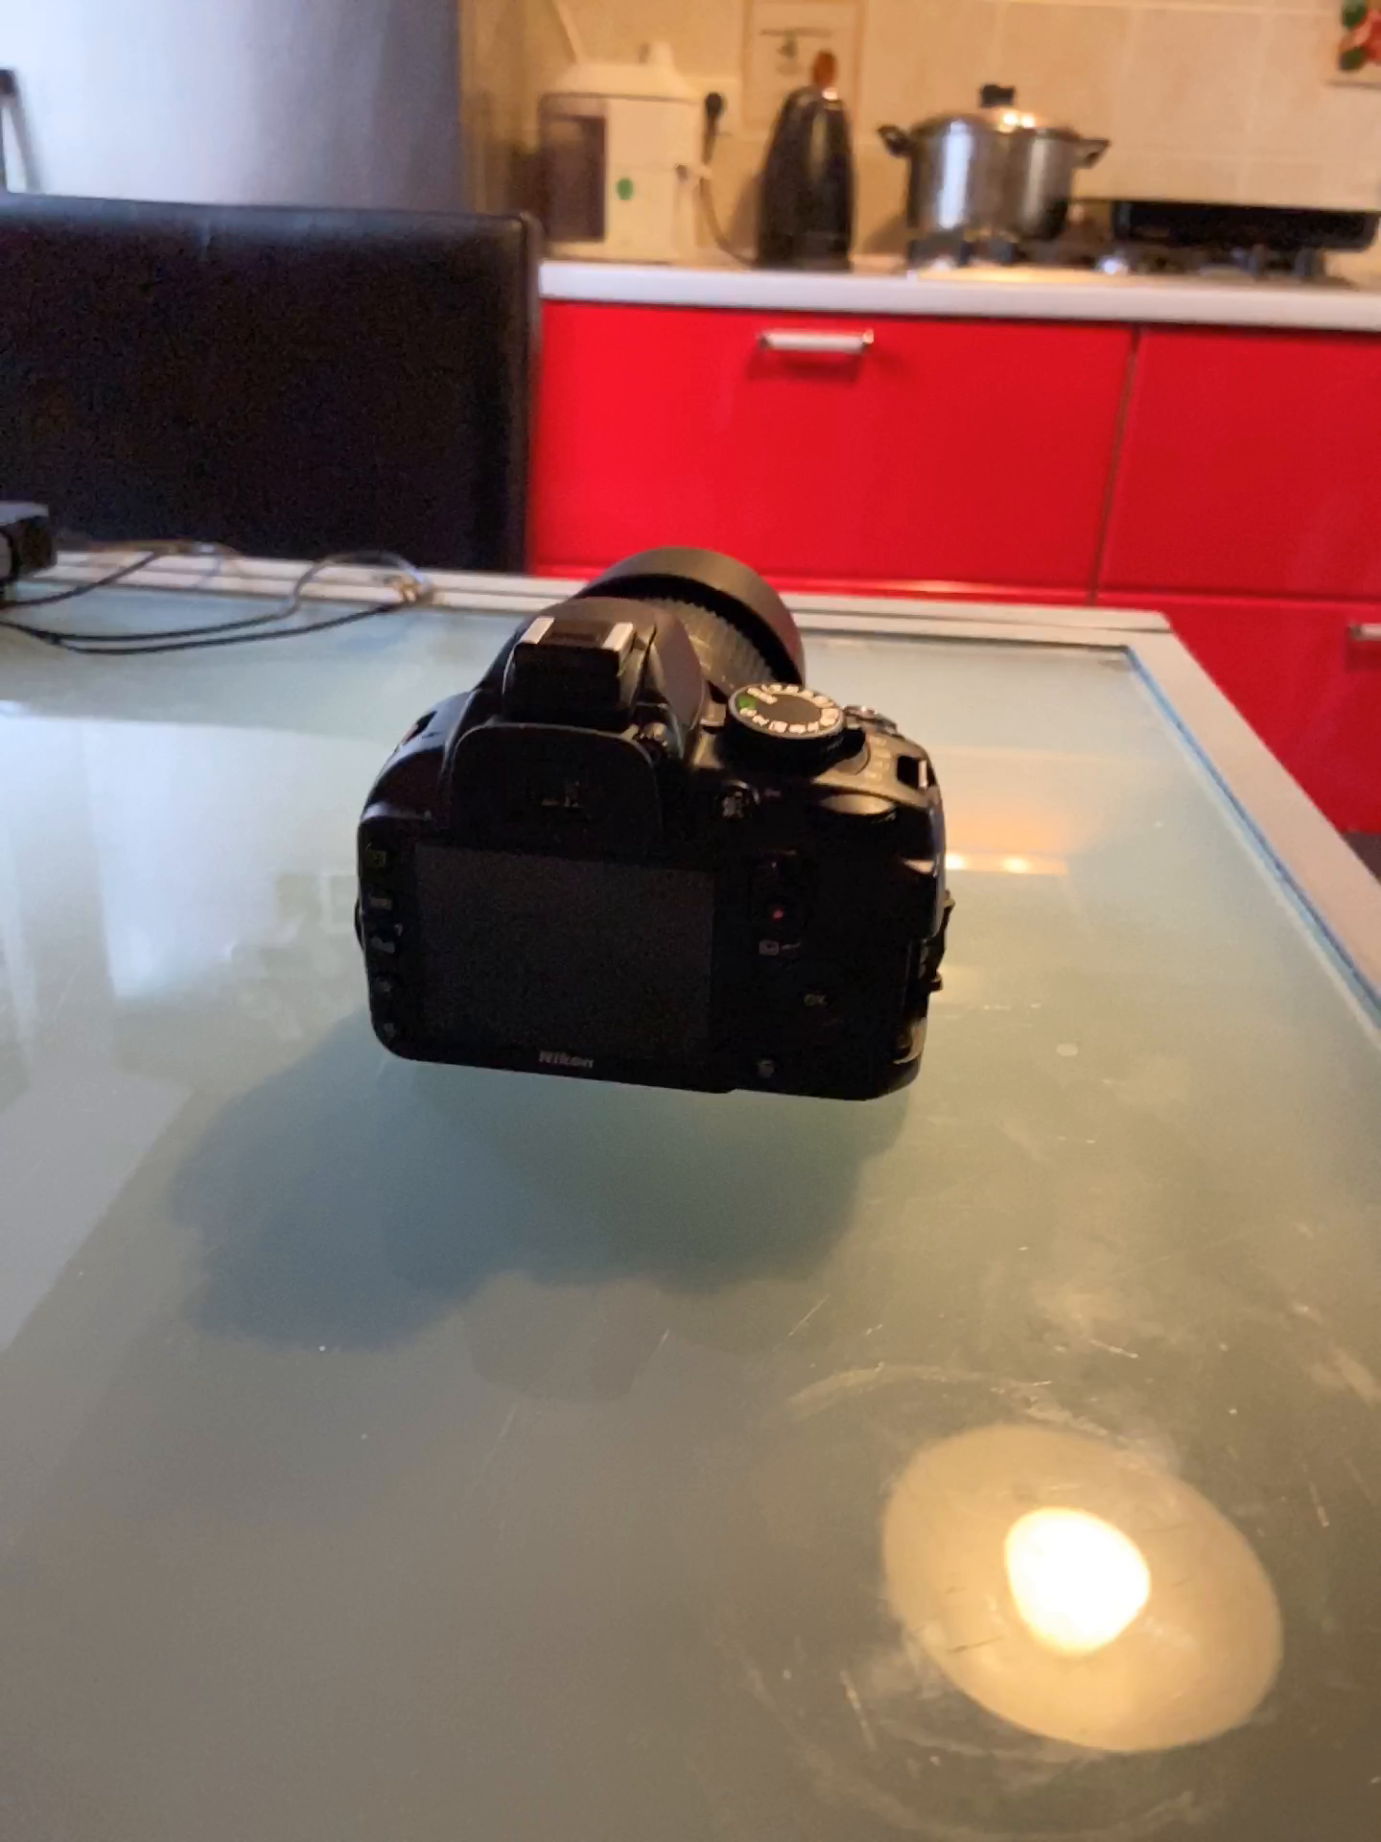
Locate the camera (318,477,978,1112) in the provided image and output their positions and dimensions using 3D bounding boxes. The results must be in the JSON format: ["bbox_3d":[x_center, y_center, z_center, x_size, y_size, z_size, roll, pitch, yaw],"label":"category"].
[{"bbox_3d":[0.000,-0.048,0.369,0.124,0.094,0.189,5,26,5],"label":"camera"}]
